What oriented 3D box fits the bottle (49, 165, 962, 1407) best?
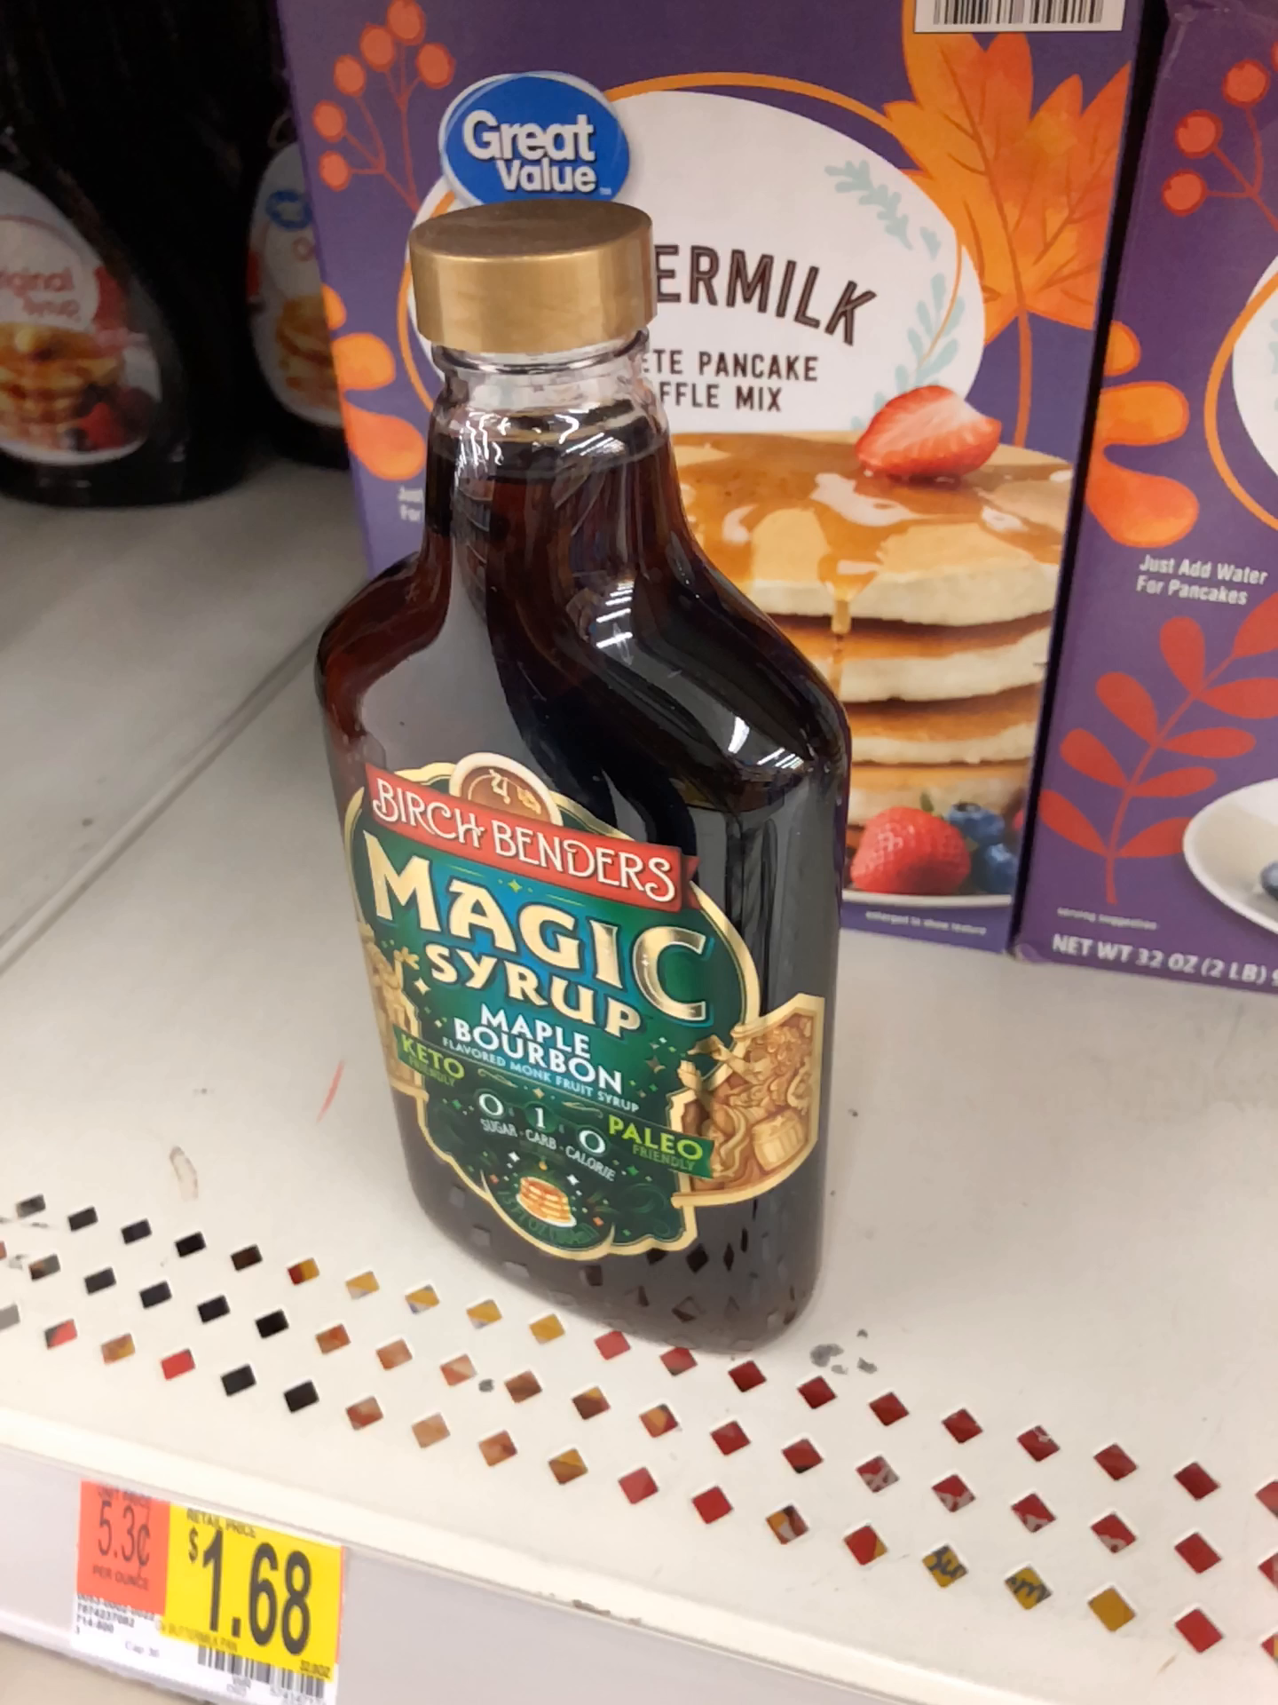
[{"bbox_3d":[-0.013,-0.004,0.228,0.100,0.180,0.050,15,40,24],"label":"bottle"}]
